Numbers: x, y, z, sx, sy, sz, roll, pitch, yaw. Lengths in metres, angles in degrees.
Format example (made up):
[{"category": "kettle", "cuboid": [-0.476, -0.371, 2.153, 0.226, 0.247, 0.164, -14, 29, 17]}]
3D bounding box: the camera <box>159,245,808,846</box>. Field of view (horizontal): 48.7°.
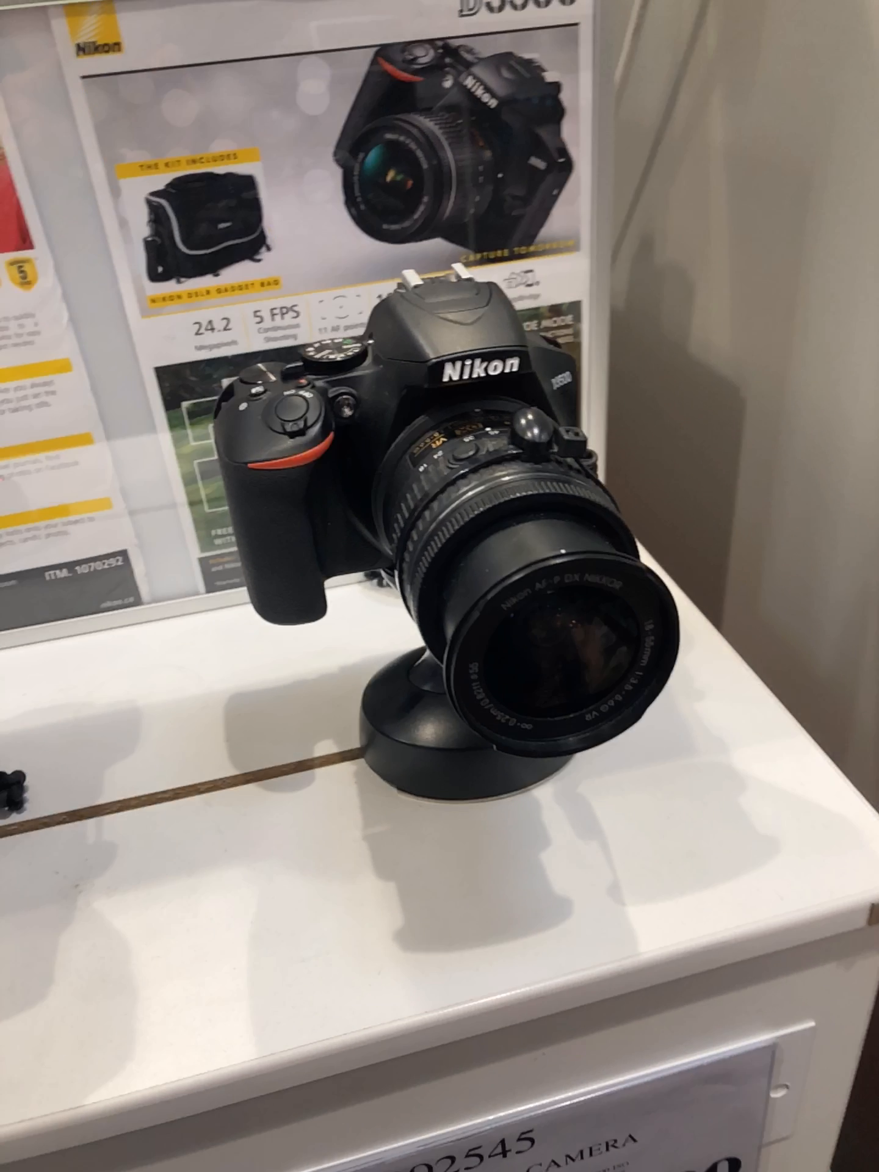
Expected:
[{"category": "camera", "cuboid": [-0.002, -0.025, 0.269, 0.130, 0.089, 0.141, -10, 33, -9]}]
